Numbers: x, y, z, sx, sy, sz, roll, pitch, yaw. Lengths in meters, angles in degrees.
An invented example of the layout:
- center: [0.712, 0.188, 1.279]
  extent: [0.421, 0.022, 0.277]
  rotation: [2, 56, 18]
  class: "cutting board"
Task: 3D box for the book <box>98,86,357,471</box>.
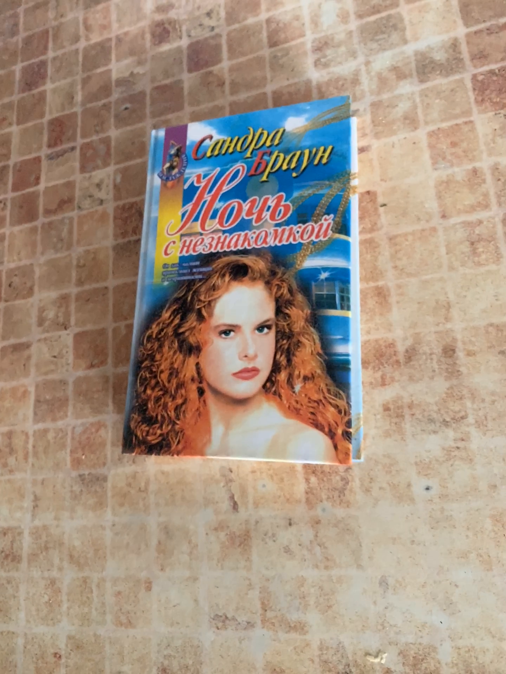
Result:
- center: [-0.011, -0.032, 0.290]
  extent: [0.130, 0.029, 0.198]
  rotation: [-2, 76, 19]
  class: "book"
